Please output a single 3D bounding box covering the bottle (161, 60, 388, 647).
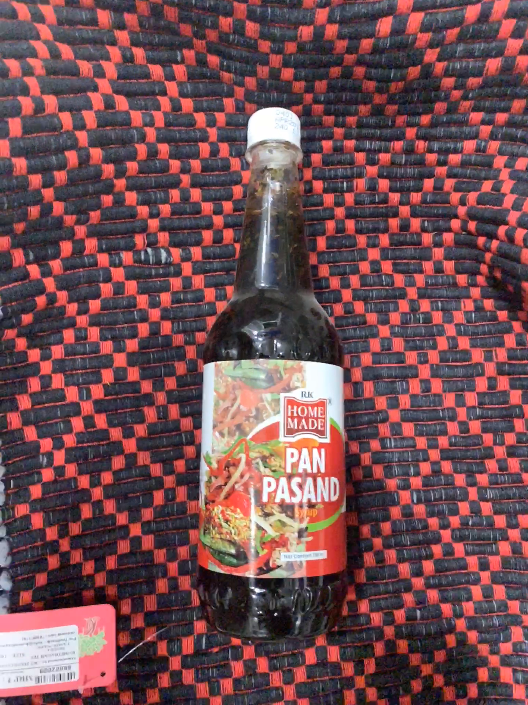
[{"bbox_3d":[0.003,-0.008,0.291,0.090,0.080,0.280,2,74,-4],"label":"bottle"}]
